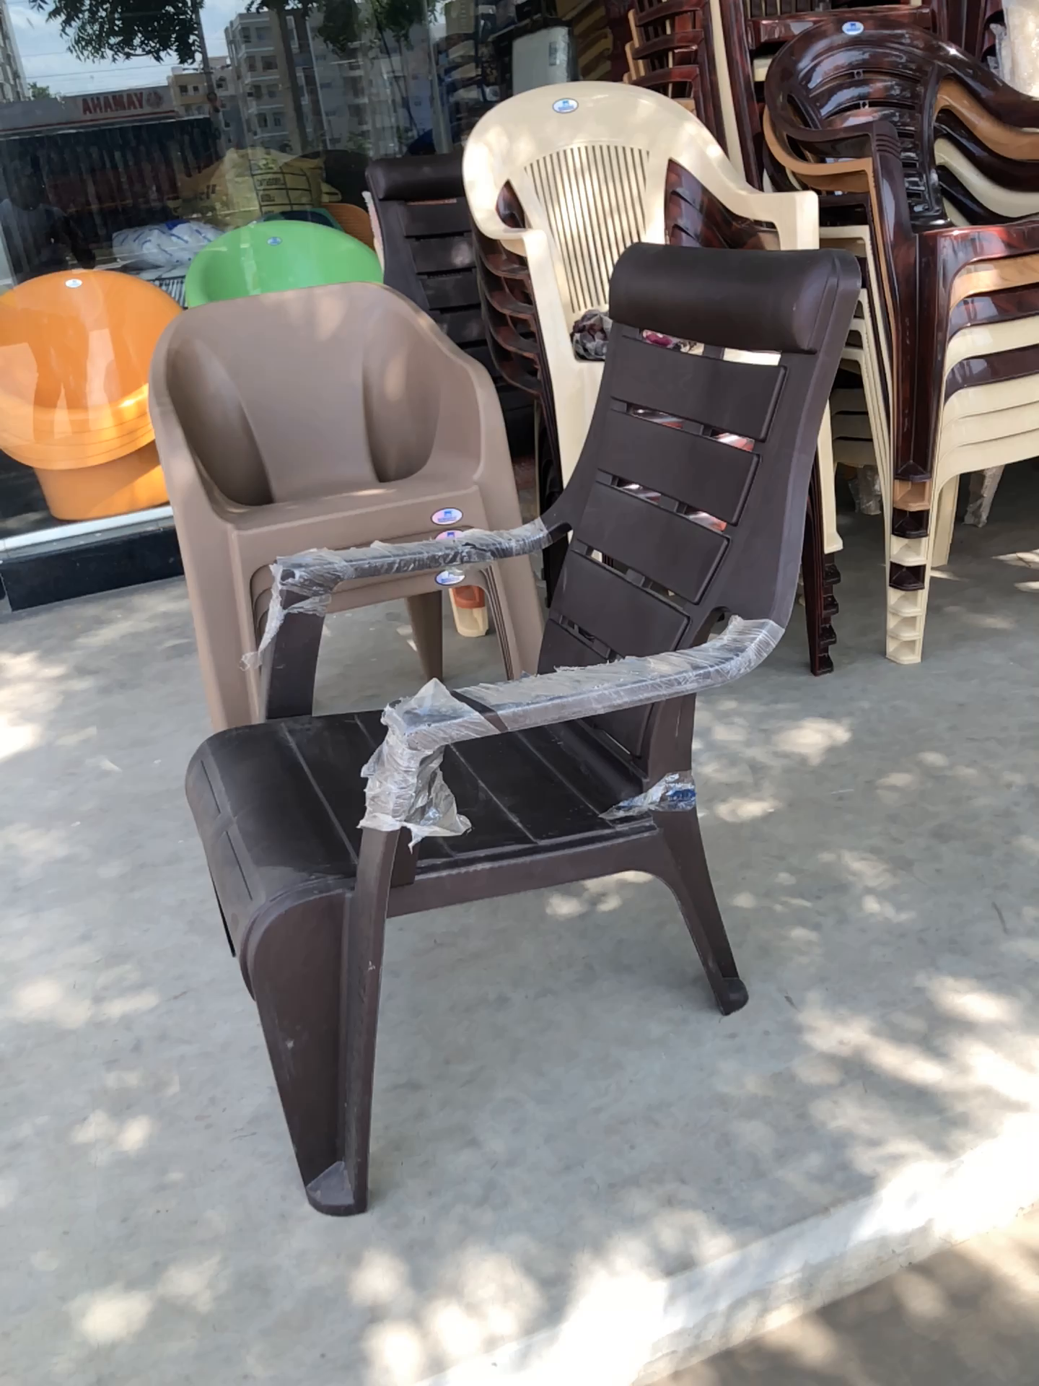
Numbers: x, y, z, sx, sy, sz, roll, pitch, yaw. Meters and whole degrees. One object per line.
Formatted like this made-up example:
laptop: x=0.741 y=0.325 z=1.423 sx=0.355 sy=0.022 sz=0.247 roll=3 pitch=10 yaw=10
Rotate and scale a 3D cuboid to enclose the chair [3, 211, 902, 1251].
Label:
chair: x=-0.080 y=-0.051 z=1.373 sx=0.761 sy=0.876 sz=0.682 roll=-15 pitch=25 yaw=-17
